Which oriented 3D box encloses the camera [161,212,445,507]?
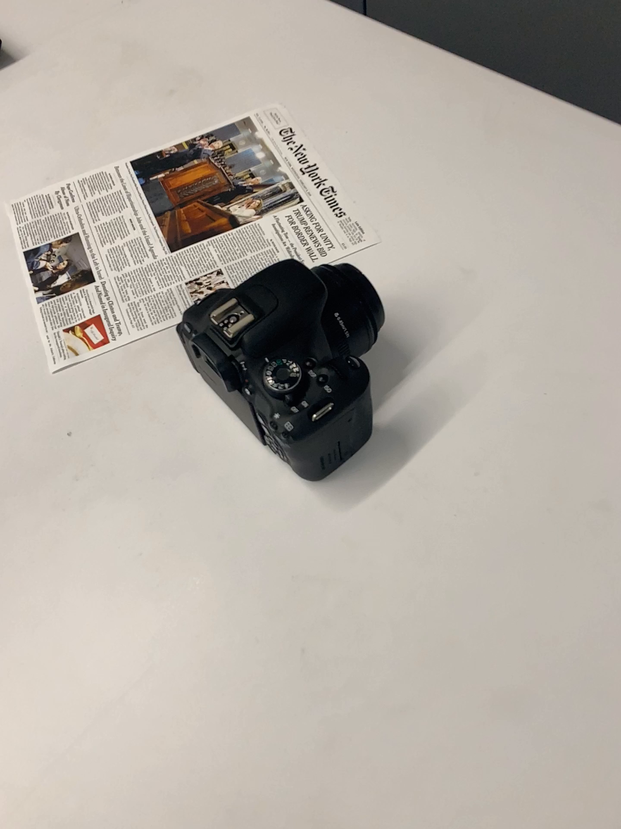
[{"bbox_3d":[-0.004,-0.038,0.419,0.109,0.090,0.138,-37,62,-14],"label":"camera"}]
